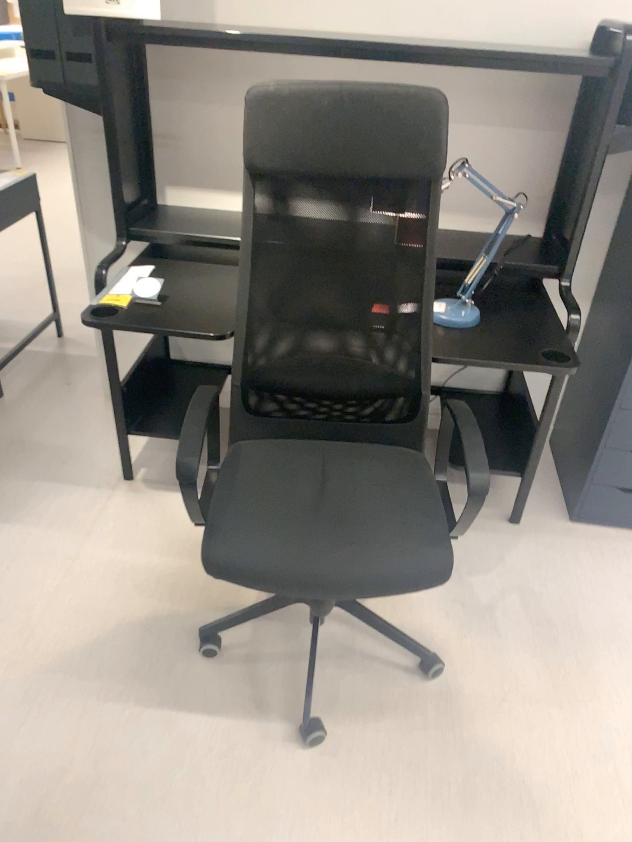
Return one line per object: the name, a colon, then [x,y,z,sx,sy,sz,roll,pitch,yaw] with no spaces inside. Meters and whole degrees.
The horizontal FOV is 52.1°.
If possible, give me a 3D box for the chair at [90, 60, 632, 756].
chair: [0.047,-0.001,1.363,0.640,1.245,0.713,3,34,0]
